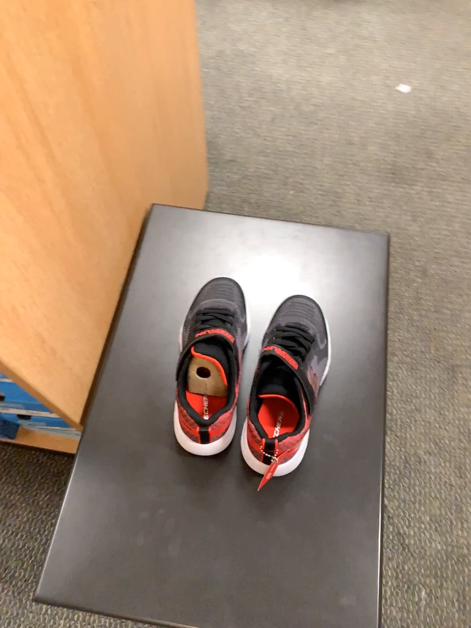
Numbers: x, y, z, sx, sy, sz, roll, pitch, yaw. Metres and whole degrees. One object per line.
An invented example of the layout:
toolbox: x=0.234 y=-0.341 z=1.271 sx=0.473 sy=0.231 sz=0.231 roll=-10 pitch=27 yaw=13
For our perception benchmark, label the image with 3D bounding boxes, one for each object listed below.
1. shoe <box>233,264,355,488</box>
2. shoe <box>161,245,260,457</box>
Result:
shoe: x=0.073 y=0.070 z=0.583 sx=0.098 sy=0.080 sz=0.240 roll=11 pitch=64 yaw=6
shoe: x=-0.023 y=0.040 z=0.588 sx=0.090 sy=0.080 sz=0.240 roll=4 pitch=63 yaw=2
